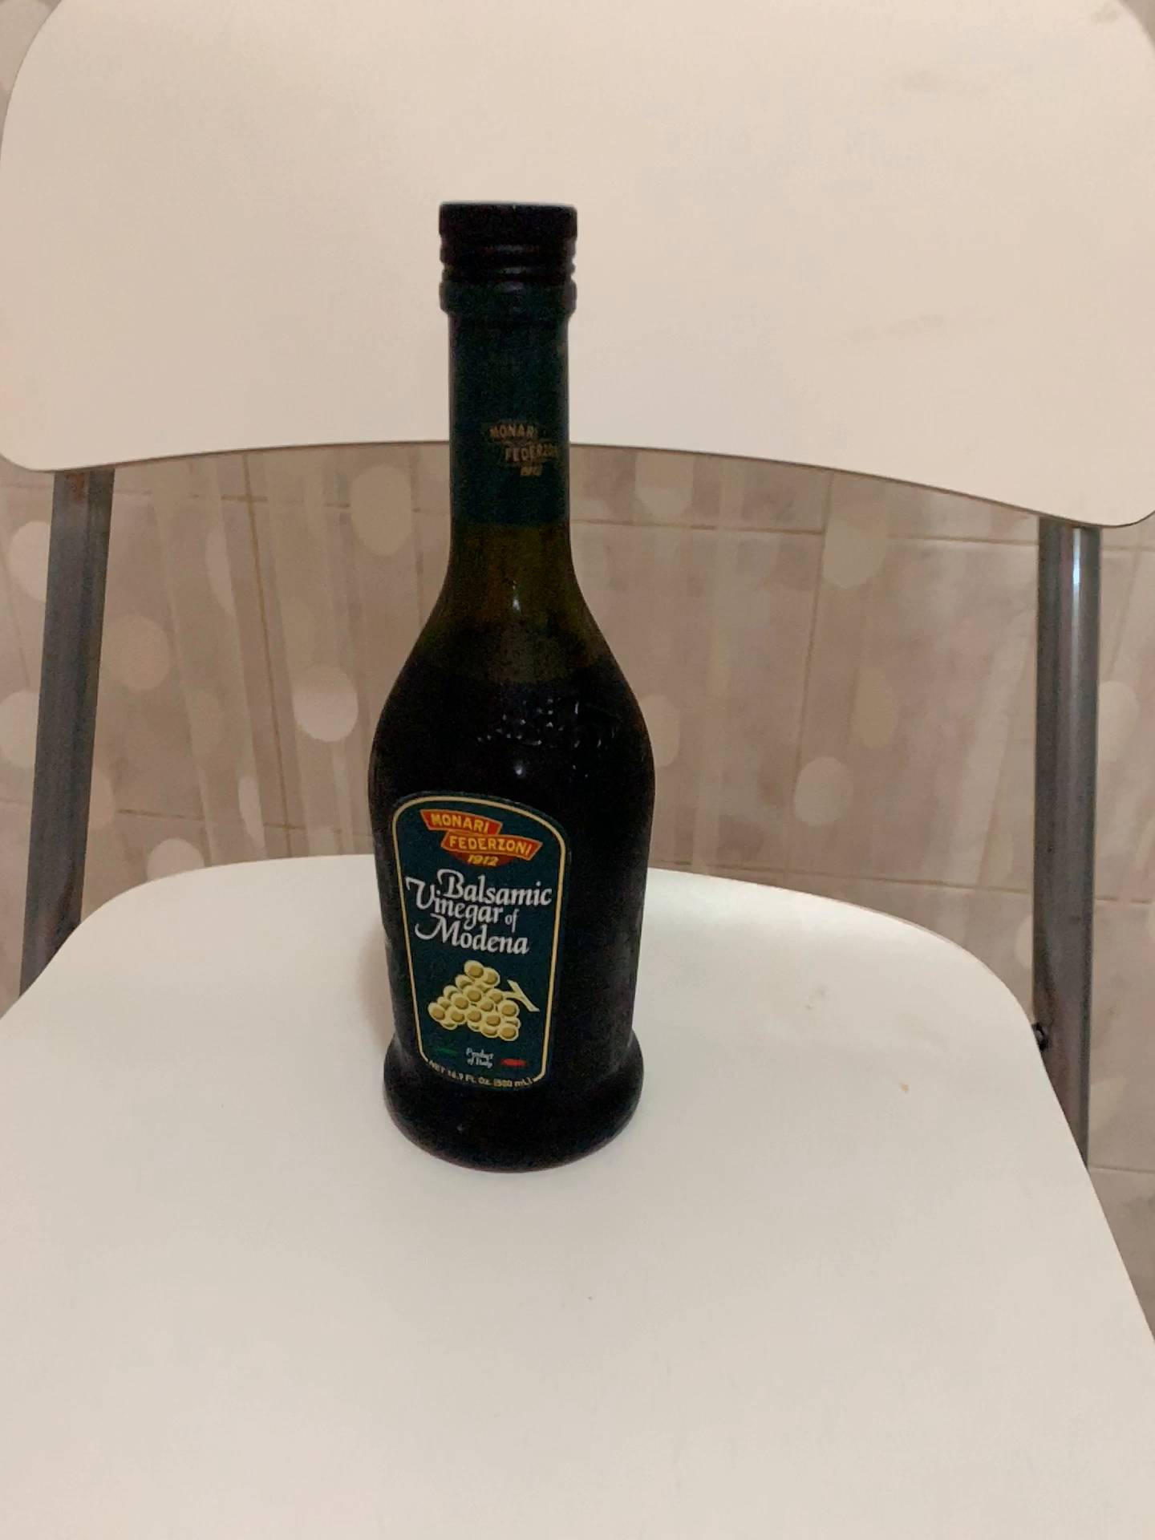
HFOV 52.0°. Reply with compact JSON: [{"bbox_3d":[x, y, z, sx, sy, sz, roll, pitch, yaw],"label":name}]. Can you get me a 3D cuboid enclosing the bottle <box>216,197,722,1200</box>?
[{"bbox_3d":[-0.020,-0.014,0.311,0.090,0.243,0.080,6,28,10],"label":"bottle"}]
